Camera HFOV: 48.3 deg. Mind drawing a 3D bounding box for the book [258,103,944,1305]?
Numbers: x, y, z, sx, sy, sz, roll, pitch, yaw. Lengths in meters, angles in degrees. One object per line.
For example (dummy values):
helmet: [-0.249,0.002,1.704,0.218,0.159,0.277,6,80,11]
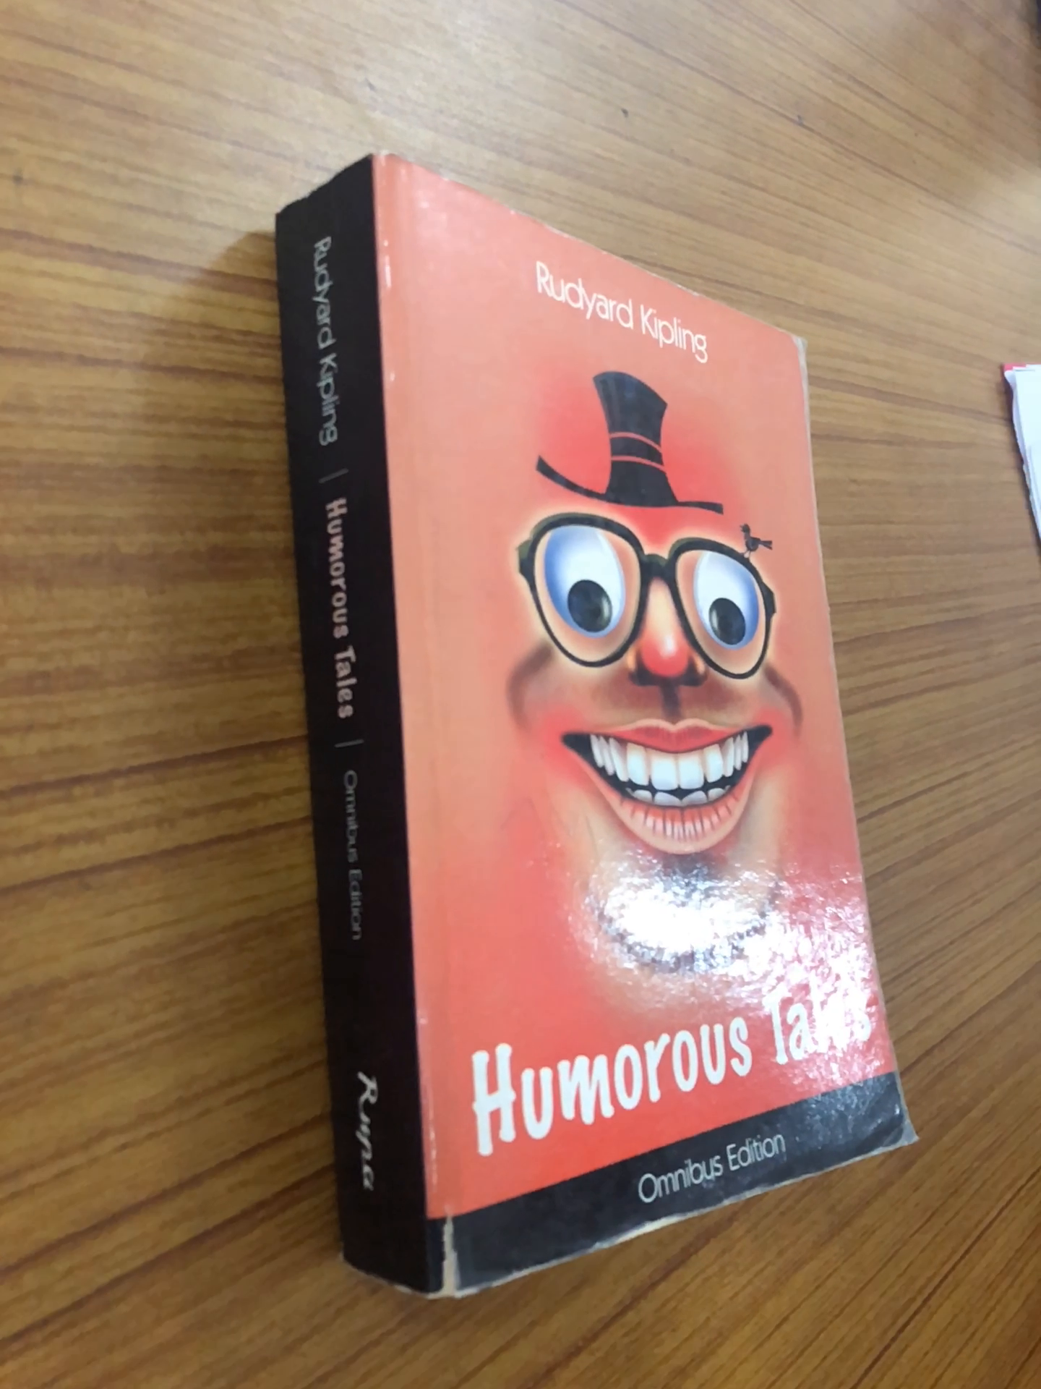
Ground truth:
book: [0.020,0.000,0.237,0.131,0.040,0.190,2,80,-37]
